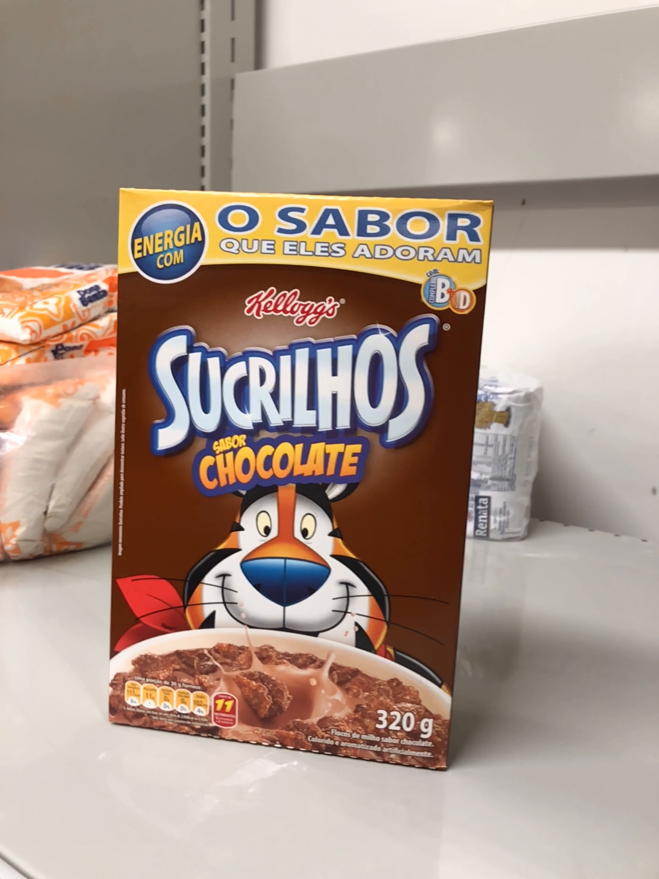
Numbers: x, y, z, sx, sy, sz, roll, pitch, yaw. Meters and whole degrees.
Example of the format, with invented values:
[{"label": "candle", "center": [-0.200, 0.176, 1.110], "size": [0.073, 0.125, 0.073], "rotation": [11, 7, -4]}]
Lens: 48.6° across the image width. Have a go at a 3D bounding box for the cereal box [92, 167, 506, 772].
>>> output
[{"label": "cereal box", "center": [-0.018, 0.012, 0.371], "size": [0.180, 0.269, 0.070], "rotation": [4, 8, 6]}]
